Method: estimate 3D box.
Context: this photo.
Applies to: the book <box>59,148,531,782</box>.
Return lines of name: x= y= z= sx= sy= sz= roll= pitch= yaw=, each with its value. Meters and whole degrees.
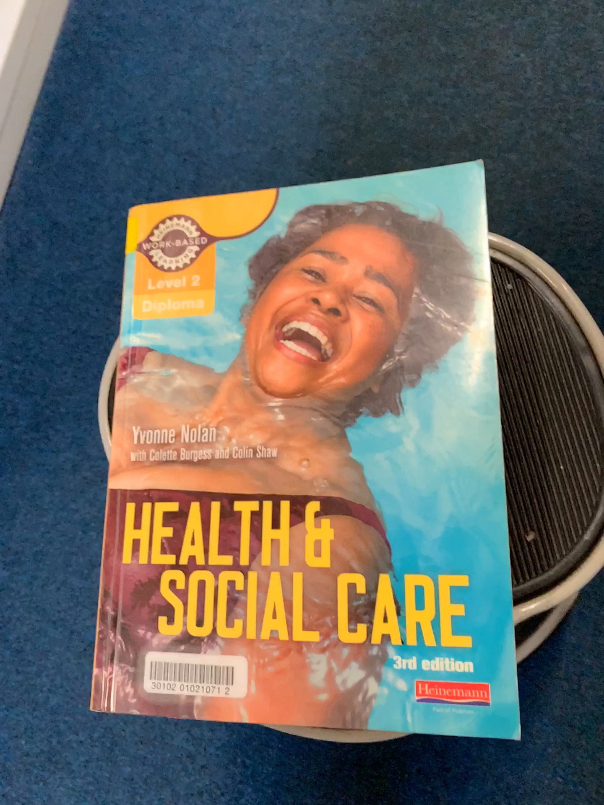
book: x=-0.007 y=0.019 z=0.301 sx=0.200 sy=0.030 sz=0.271 roll=-3 pitch=77 yaw=13
